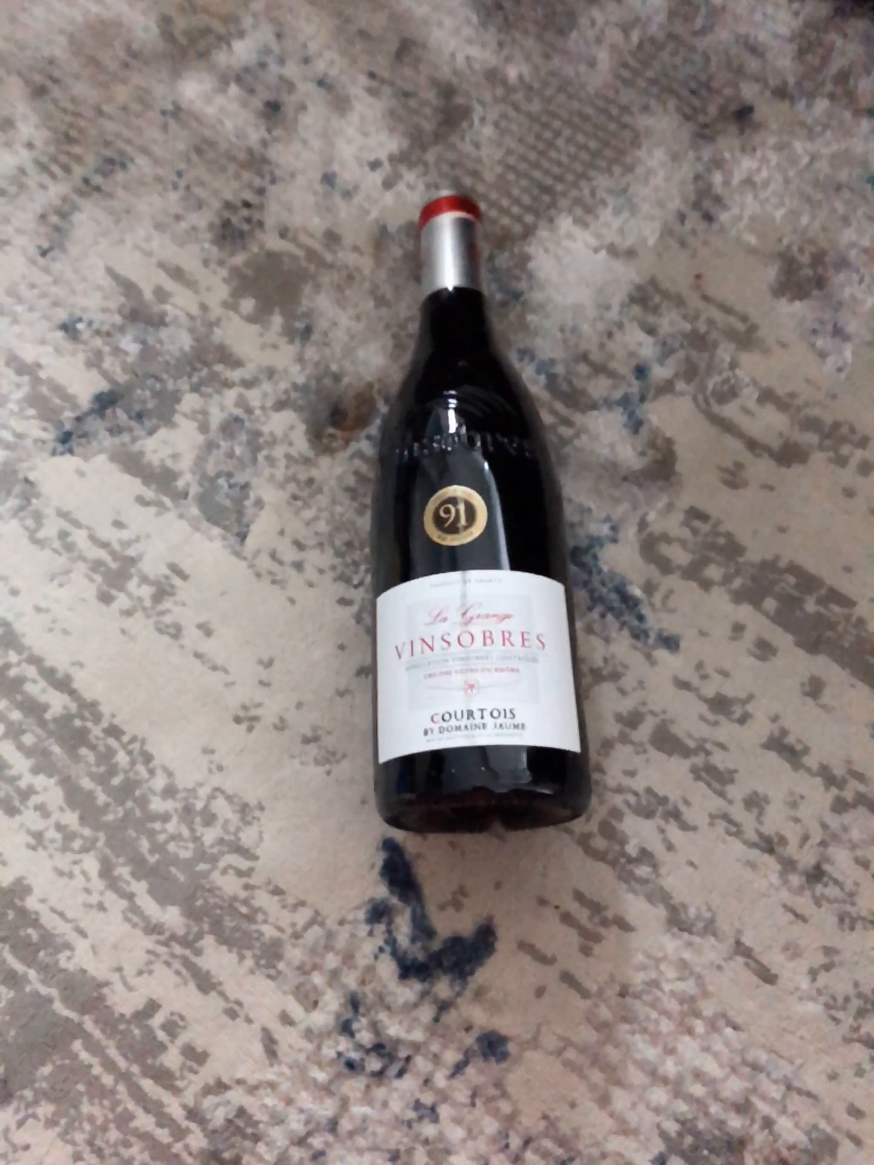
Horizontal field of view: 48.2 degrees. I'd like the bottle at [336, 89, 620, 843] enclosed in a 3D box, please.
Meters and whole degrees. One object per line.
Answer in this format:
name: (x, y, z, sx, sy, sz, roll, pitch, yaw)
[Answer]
bottle: (0.010, -0.053, 0.413, 0.090, 0.100, 0.300, -3, 68, 2)
